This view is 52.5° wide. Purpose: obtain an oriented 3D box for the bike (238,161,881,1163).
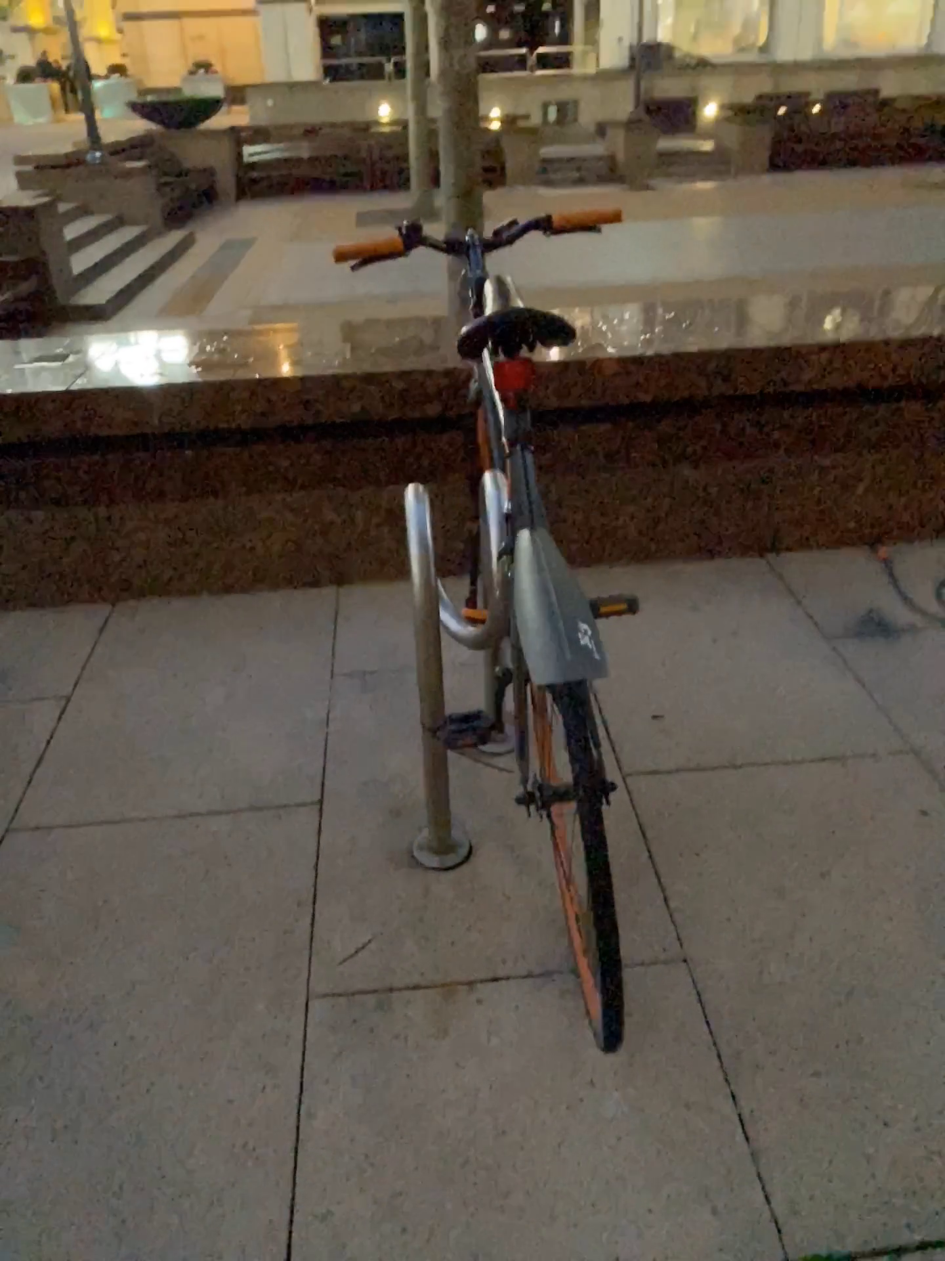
[{"bbox_3d":[0.025,-0.187,1.714,0.524,0.982,1.648,-5,31,-3],"label":"bike"}]
